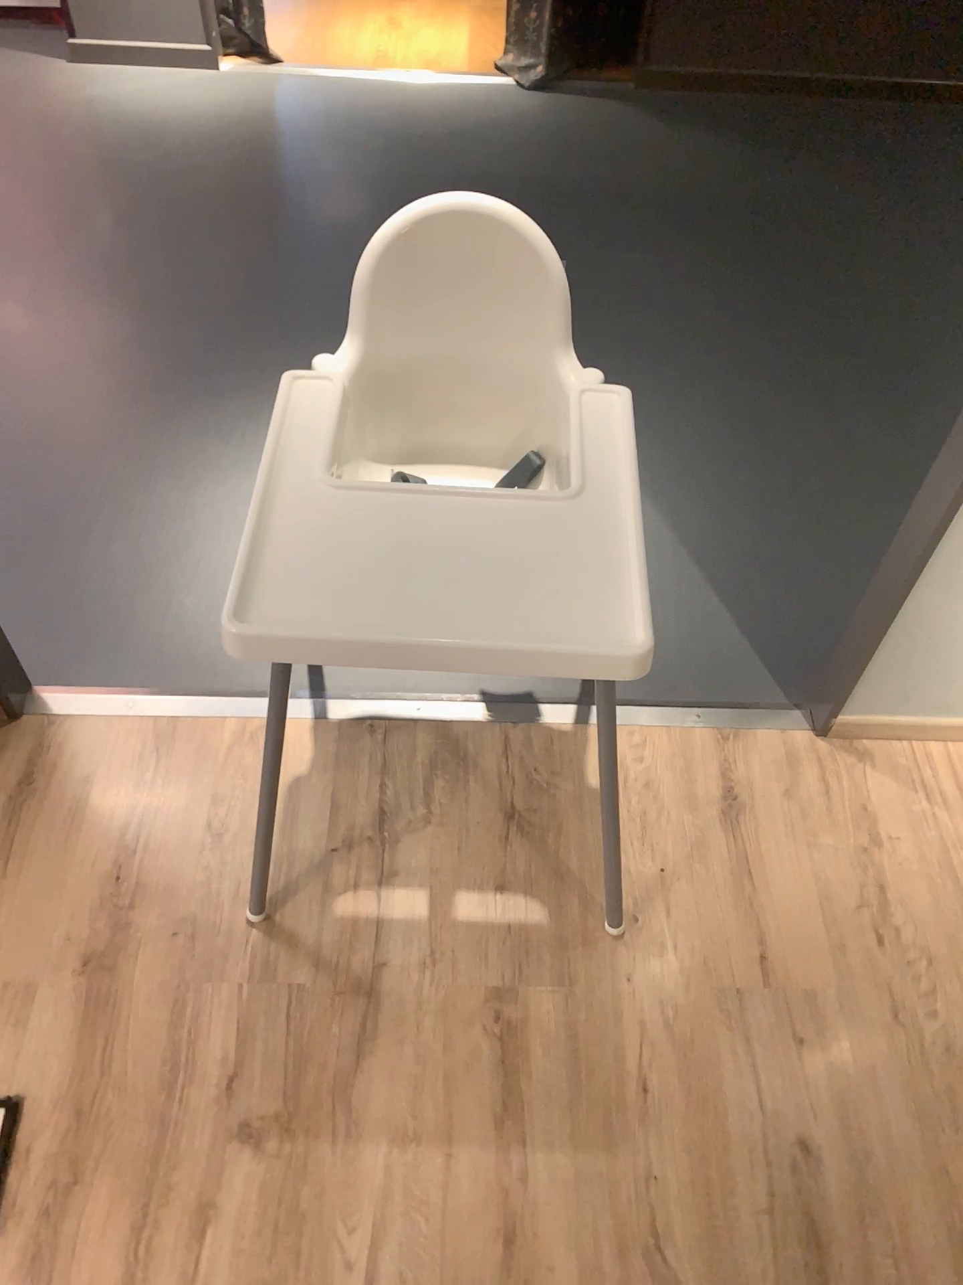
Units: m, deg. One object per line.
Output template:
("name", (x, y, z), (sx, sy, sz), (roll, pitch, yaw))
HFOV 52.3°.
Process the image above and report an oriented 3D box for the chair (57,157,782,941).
("chair", (-0.061, -0.069, 1.278), (0.570, 0.798, 0.622), (2, 52, -2))
